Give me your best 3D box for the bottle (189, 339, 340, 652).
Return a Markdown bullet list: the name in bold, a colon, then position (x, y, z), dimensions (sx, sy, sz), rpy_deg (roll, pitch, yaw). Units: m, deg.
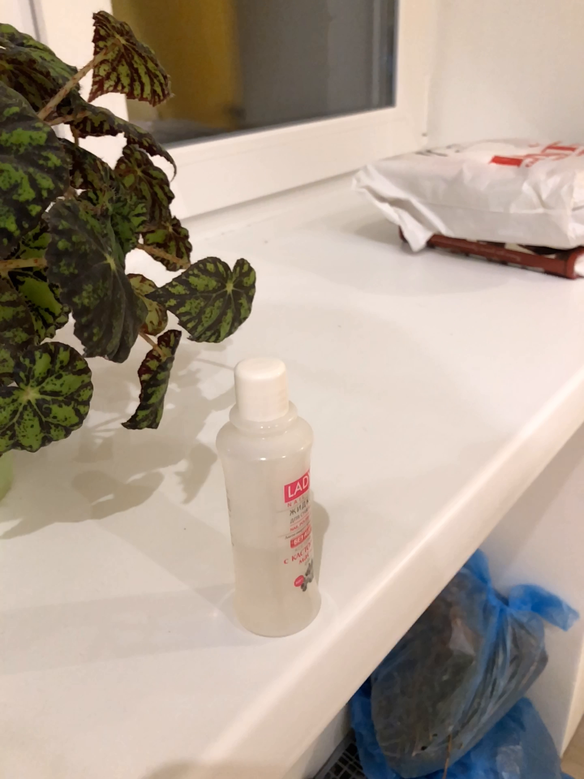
- **bottle**: position (-0.006, 0.040, 0.238), dimensions (0.036, 0.105, 0.037), rpy_deg (-2, 27, 1)
